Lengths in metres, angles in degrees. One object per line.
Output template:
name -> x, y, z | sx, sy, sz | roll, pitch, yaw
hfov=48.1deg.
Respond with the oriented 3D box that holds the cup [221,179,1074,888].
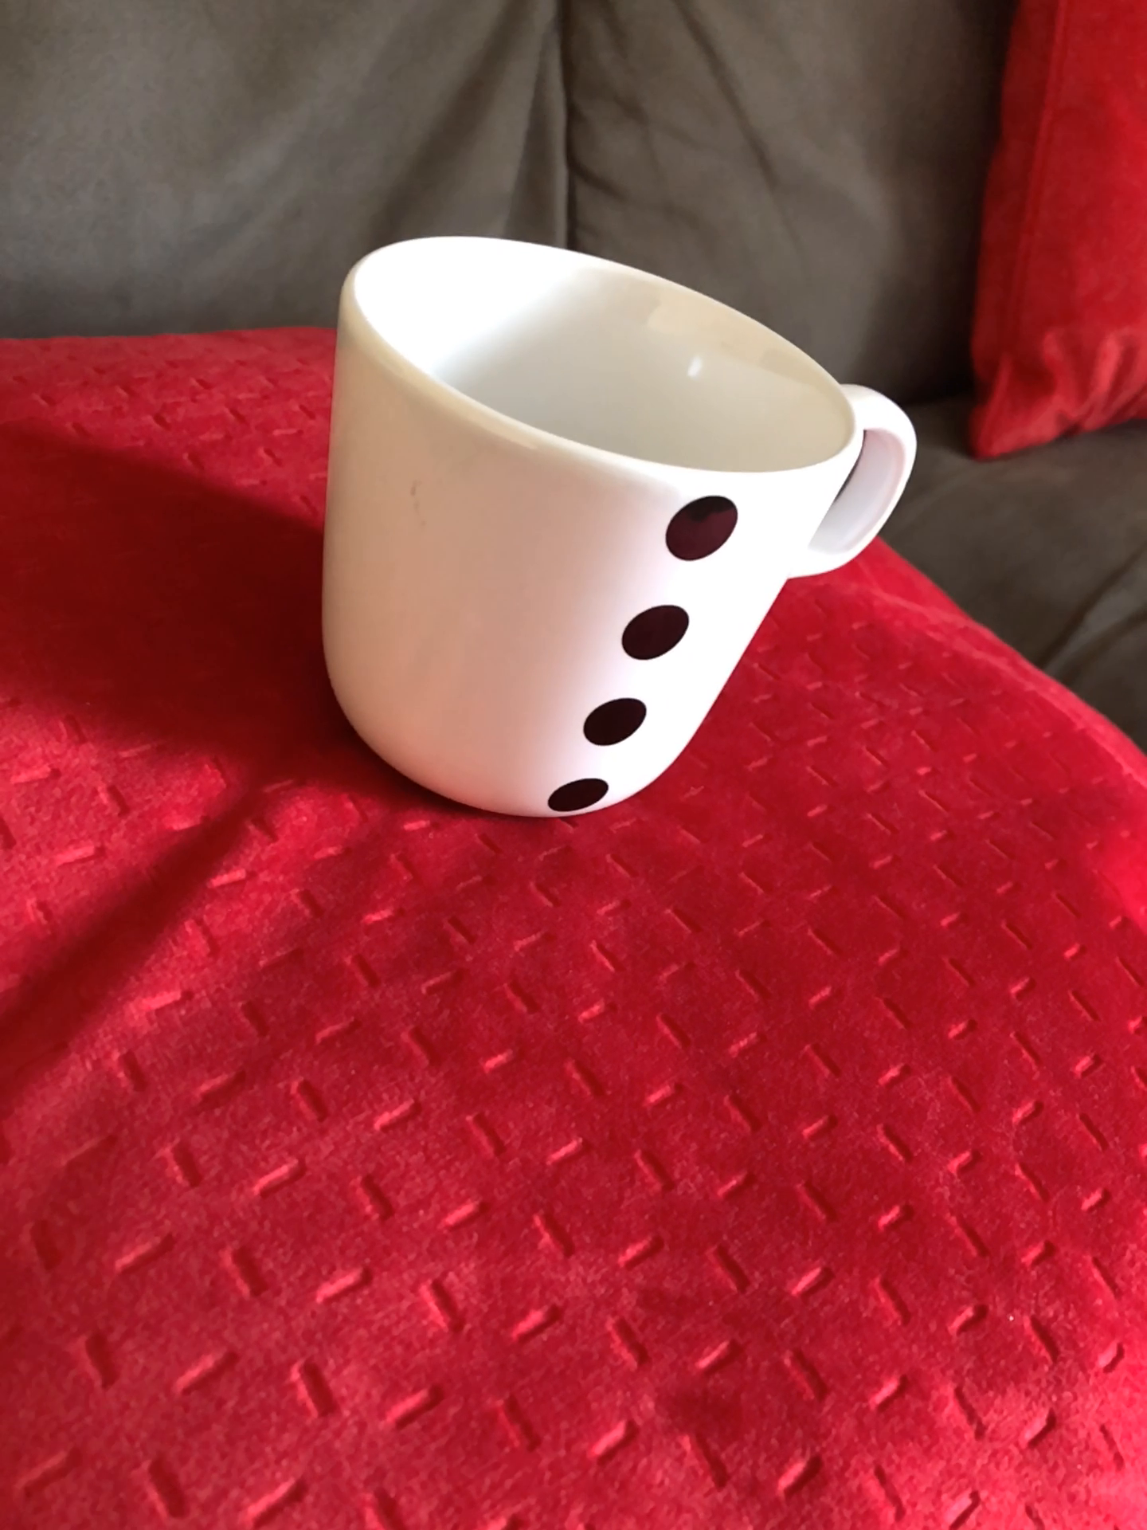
cup -> 0.006, -0.043, 0.229 | 0.110, 0.080, 0.080 | -8, 44, -30
